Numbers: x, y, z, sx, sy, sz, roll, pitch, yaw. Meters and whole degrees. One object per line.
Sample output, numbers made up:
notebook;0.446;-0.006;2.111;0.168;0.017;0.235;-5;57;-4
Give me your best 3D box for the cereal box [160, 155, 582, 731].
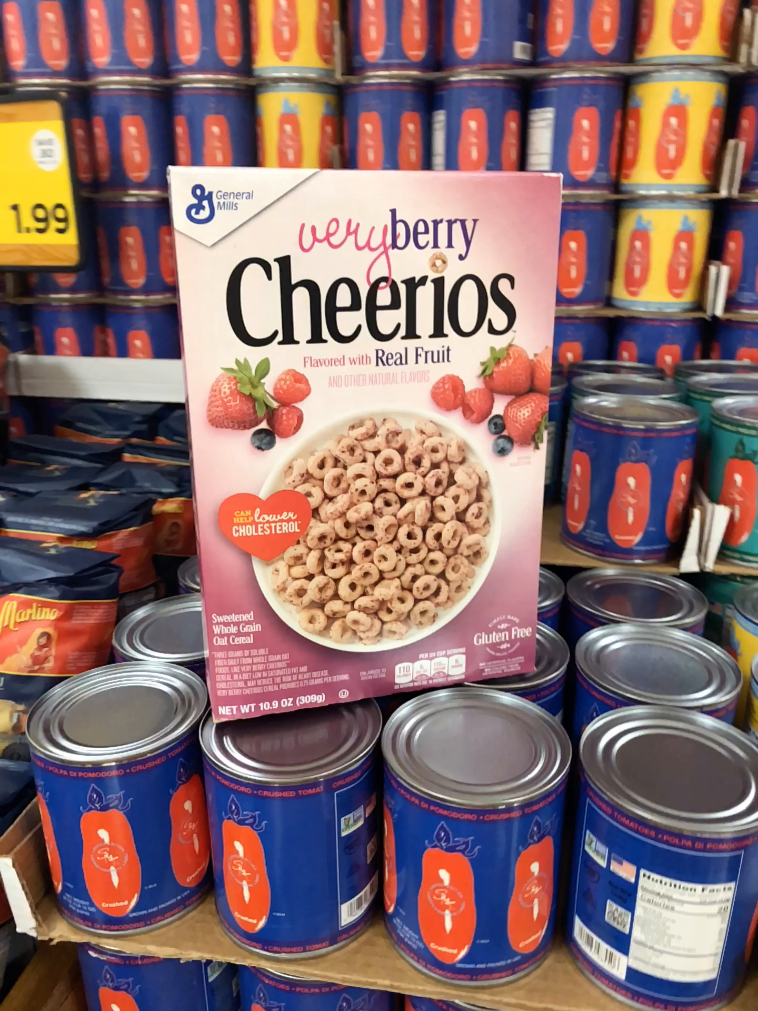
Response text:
cereal box;-0.004;-0.034;0.460;0.200;0.288;0.060;-6;20;-16
